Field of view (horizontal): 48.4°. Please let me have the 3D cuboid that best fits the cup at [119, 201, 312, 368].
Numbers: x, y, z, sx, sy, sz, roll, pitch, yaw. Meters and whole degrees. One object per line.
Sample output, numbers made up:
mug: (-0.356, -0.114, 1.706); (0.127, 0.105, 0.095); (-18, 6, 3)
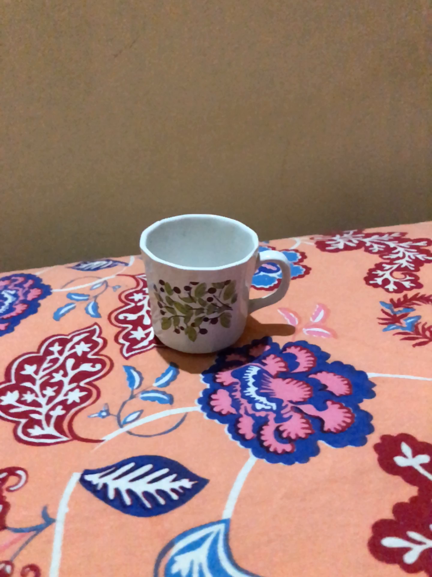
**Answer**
cup: (0.002, -0.003, 0.267); (0.090, 0.070, 0.060); (0, 34, 3)
